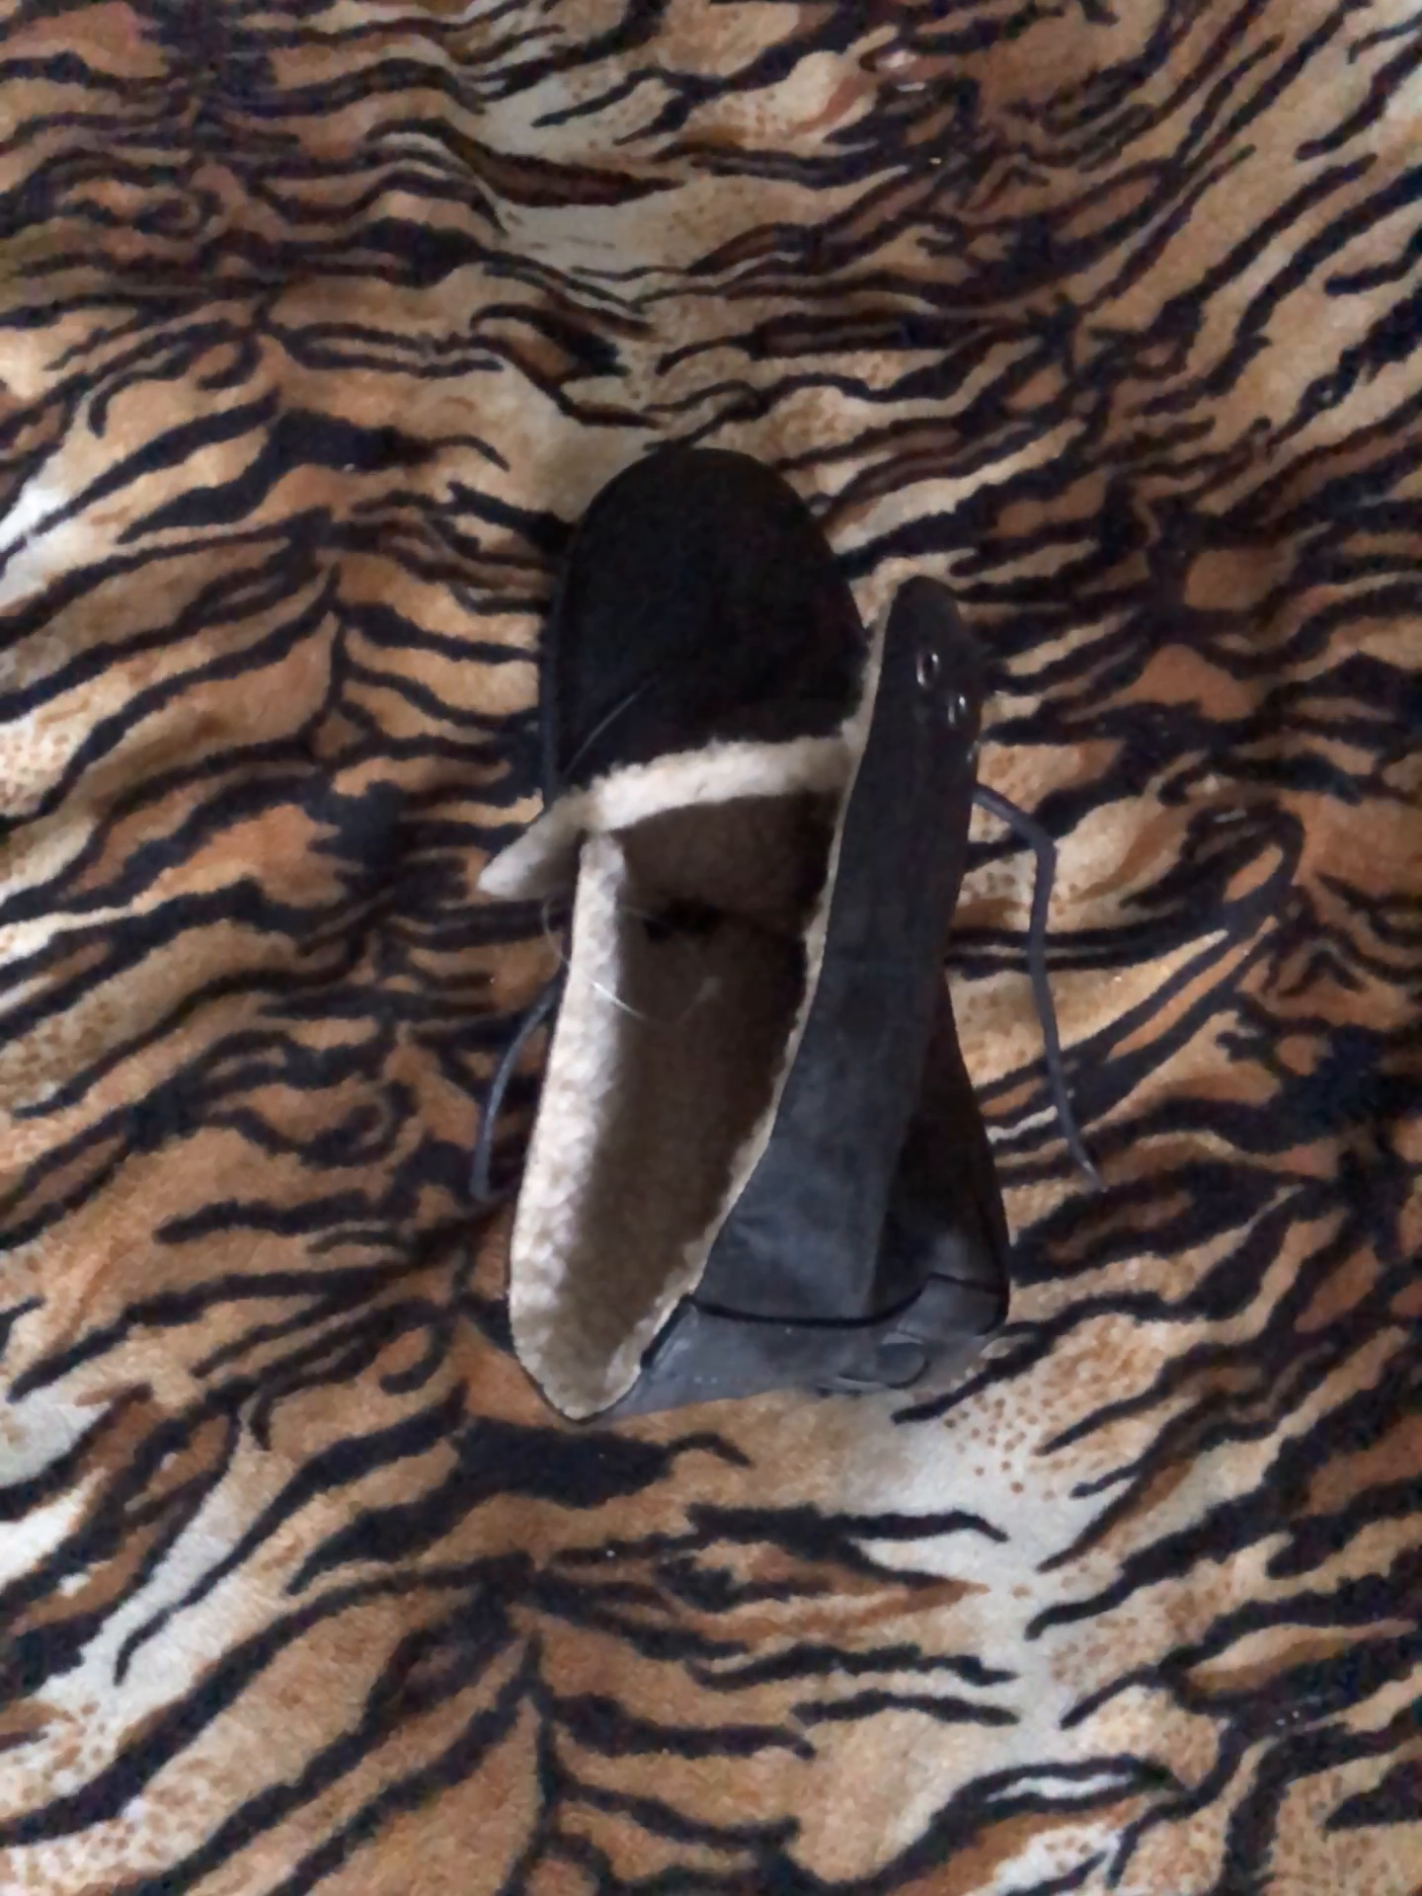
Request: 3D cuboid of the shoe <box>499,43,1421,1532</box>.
[{"bbox_3d":[0.039,-0.031,0.428,0.140,0.200,0.330,-9,72,-10],"label":"shoe"}]
